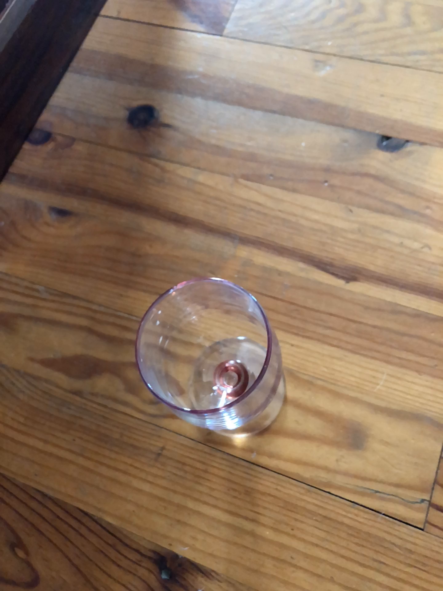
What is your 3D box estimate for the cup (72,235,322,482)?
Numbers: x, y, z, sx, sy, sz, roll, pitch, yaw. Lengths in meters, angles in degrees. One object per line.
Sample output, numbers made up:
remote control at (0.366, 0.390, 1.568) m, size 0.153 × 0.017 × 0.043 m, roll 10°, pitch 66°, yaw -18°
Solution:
cup at (-0.002, 0.045, 0.293) m, size 0.087 × 0.133 × 0.083 m, roll -3°, pitch 71°, yaw 9°
